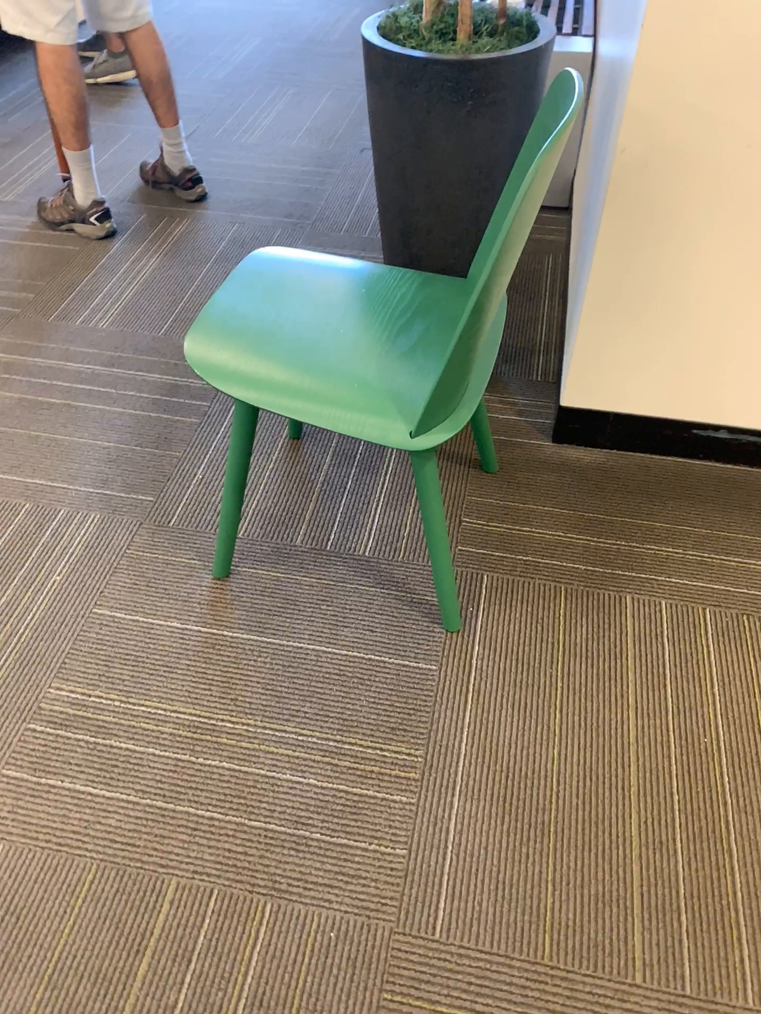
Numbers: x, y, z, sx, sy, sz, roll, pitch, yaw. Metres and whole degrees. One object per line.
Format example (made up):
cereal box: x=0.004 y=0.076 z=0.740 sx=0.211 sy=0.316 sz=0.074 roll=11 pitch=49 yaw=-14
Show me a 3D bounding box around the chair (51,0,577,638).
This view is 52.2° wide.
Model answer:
chair: x=-0.037 y=-0.276 z=1.200 sx=0.500 sy=0.786 sz=0.502 roll=10 pitch=46 yaw=9
